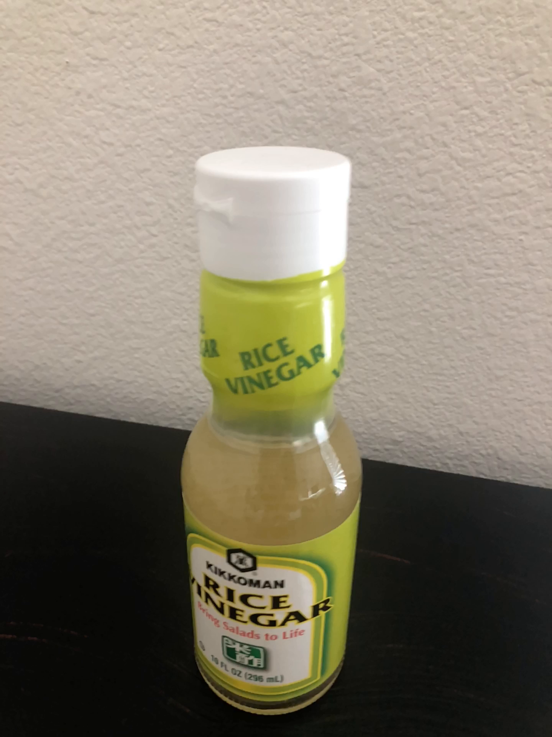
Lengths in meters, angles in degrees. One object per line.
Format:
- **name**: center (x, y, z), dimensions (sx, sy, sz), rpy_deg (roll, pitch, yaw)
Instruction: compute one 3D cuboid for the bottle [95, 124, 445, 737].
- **bottle**: center (0.002, 0.029, 0.208), dimensions (0.070, 0.199, 0.070), rpy_deg (0, 27, 0)
